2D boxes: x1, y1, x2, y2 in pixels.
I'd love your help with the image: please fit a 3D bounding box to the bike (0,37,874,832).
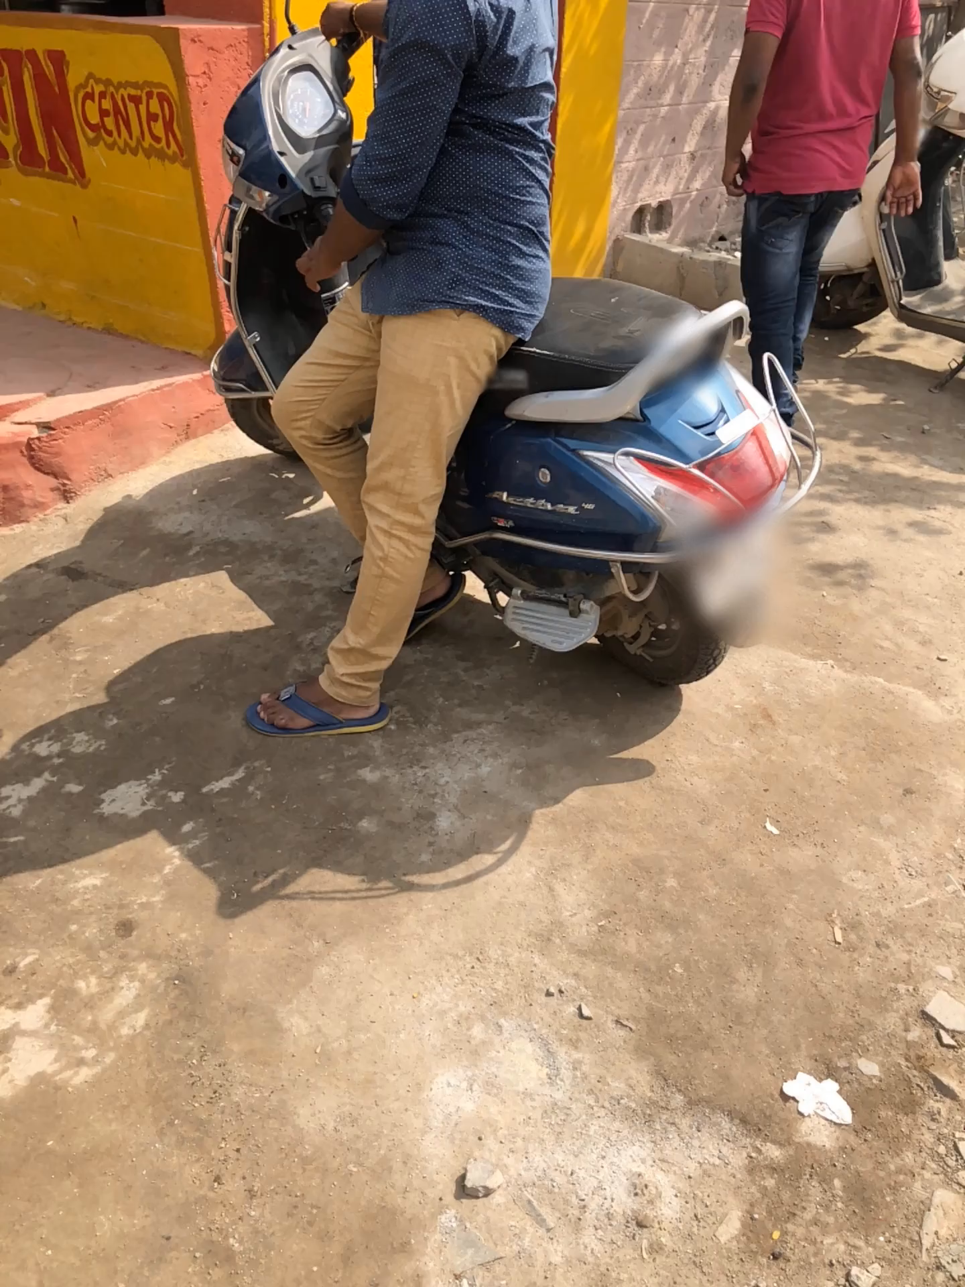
[{"bbox_3d":[-0.230,-0.571,2.249,1.633,1.187,0.628,26,38,34],"label":"bike"}]
